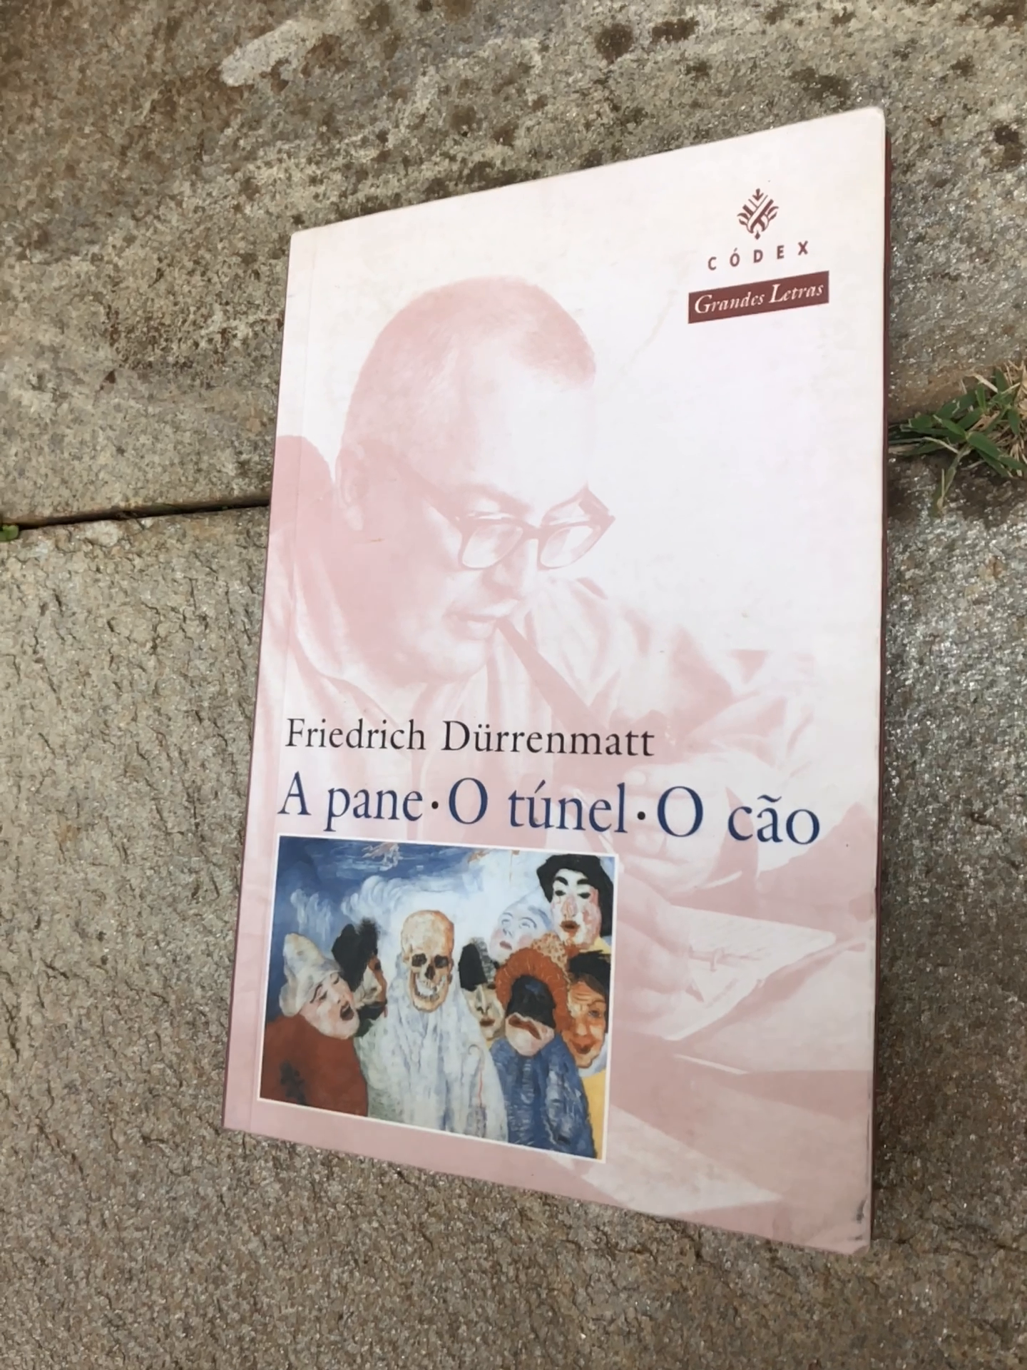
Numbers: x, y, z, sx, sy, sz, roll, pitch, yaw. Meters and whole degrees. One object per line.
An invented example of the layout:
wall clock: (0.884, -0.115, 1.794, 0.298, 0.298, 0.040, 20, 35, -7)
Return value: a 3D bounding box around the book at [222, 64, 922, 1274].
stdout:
book: (0.008, -0.007, 0.236, 0.138, 0.020, 0.210, 1, 85, 25)
